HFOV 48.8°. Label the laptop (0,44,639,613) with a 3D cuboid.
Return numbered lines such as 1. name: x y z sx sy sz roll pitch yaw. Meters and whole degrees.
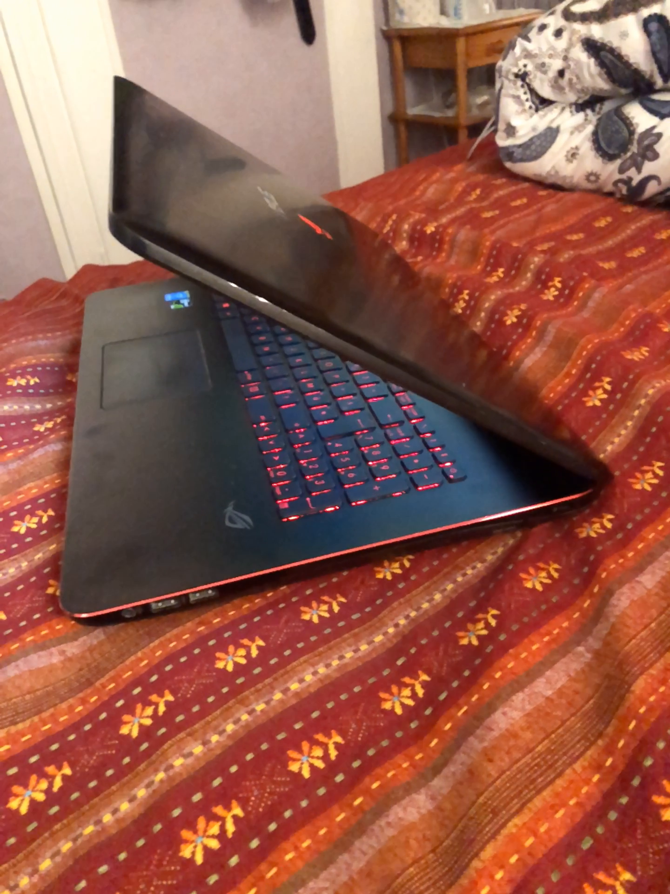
1. laptop: -0.050 -0.129 0.474 0.267 0.168 0.400 -12 34 -8
